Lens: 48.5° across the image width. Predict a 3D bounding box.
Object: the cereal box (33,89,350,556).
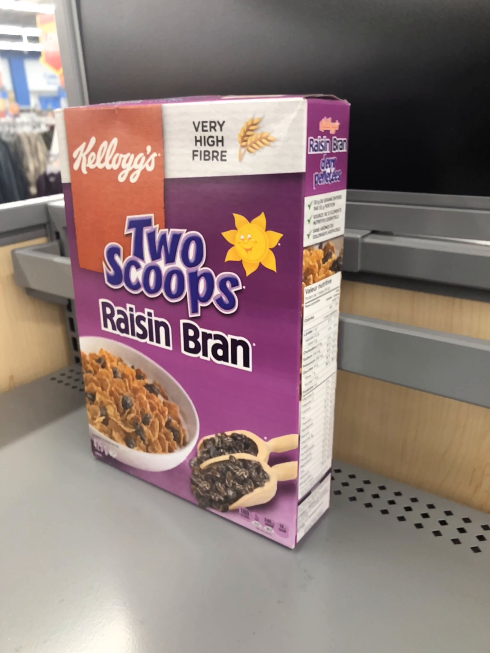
[{"bbox_3d":[-0.043,-0.010,0.374,0.211,0.269,0.050,13,22,33],"label":"cereal box"}]
